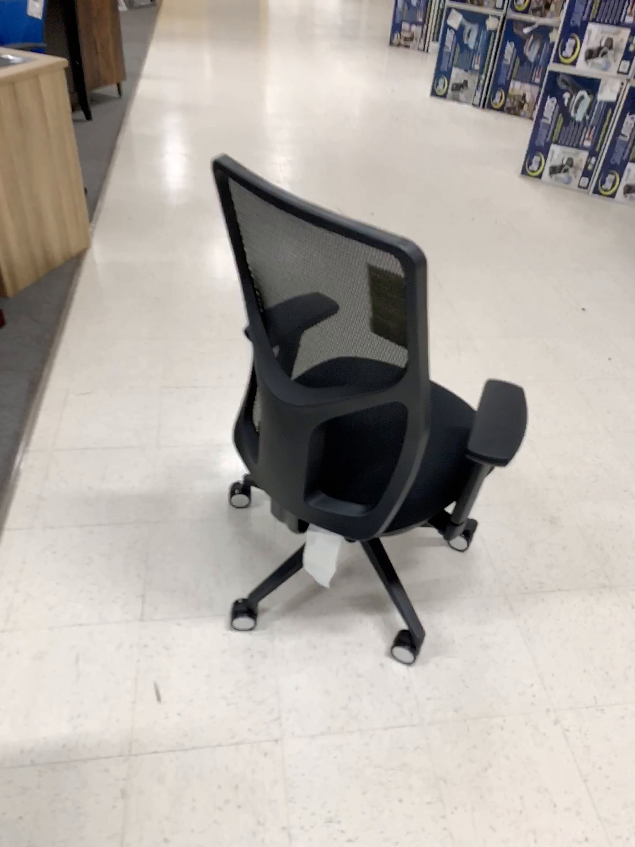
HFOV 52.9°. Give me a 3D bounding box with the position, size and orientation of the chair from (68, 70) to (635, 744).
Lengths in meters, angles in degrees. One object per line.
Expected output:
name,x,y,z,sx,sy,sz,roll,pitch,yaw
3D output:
chair,0.088,-0.072,1.339,0.701,0.995,0.732,32,46,27
